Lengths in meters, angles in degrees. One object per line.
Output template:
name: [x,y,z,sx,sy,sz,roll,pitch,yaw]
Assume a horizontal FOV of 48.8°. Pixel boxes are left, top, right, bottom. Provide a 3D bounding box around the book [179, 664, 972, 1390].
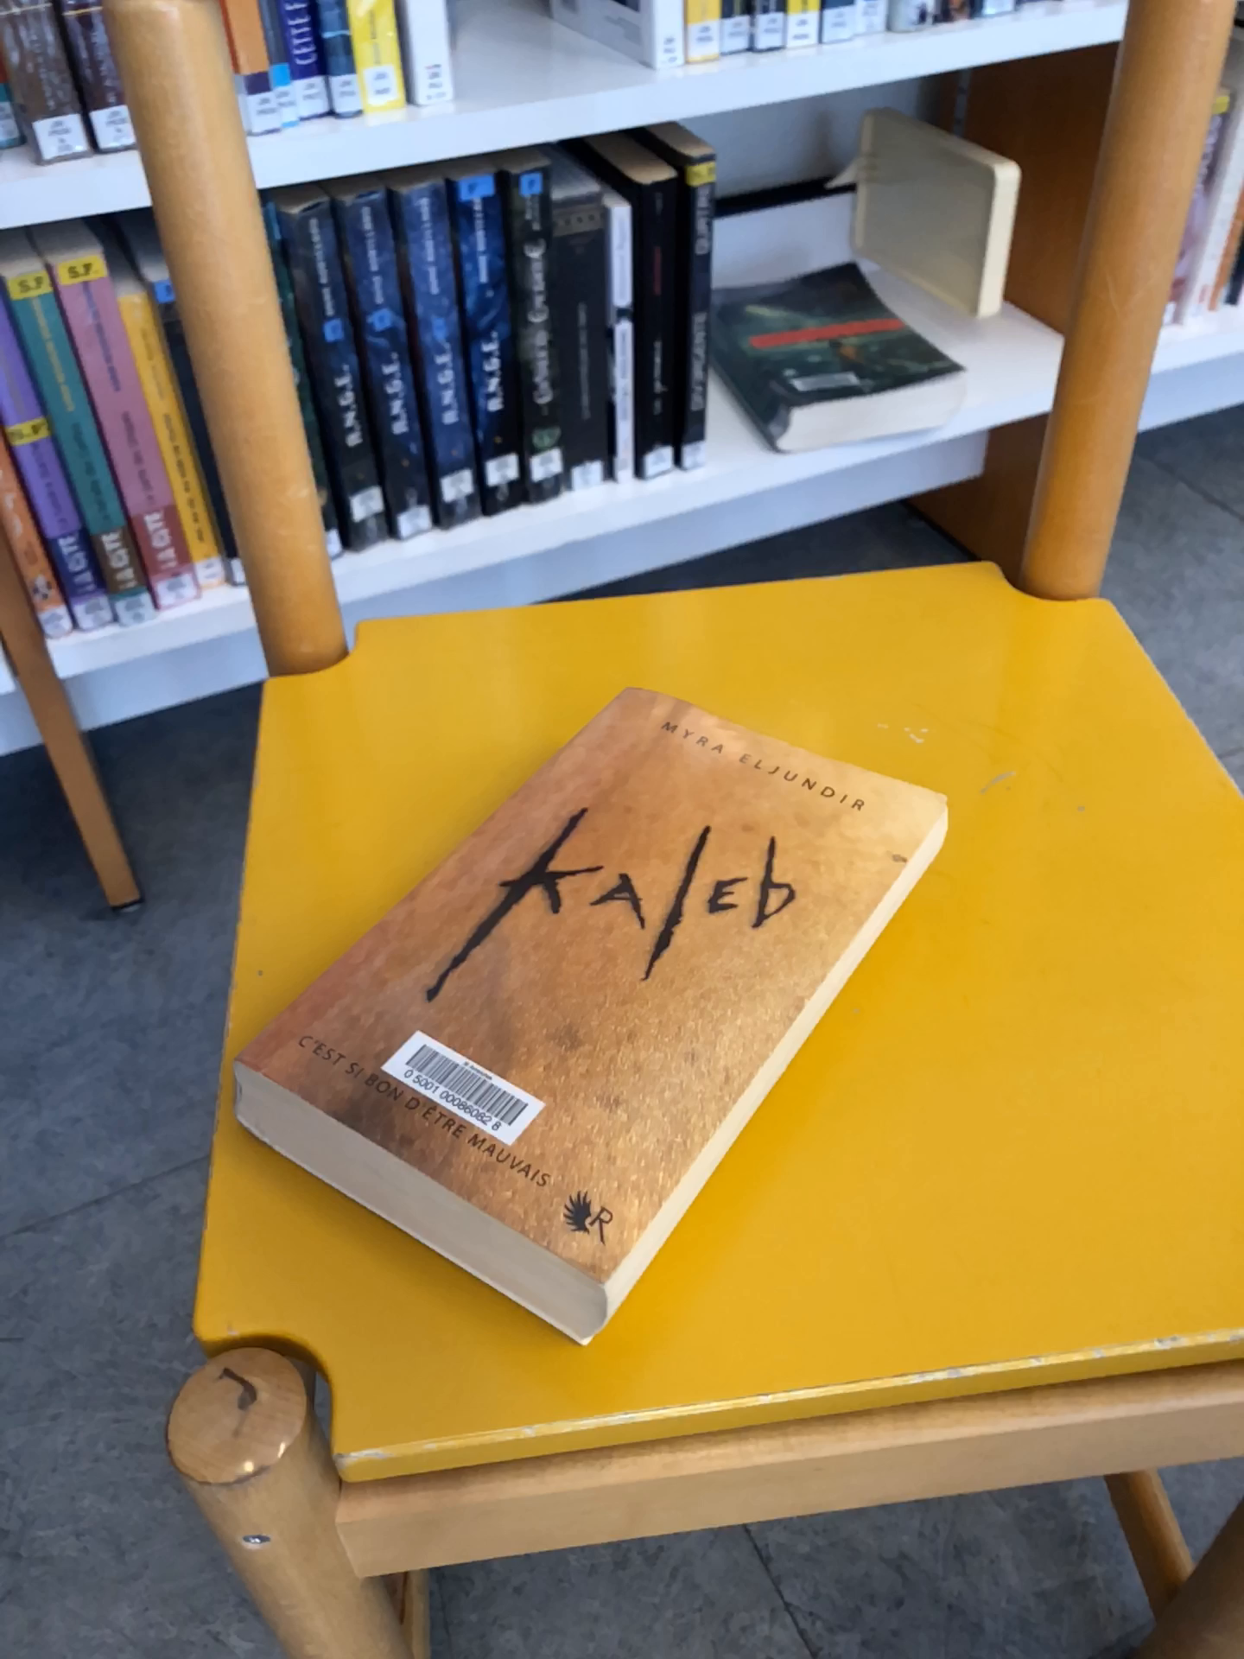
book: [-0.004,0.042,0.451,0.149,0.043,0.225,24,48,26]
